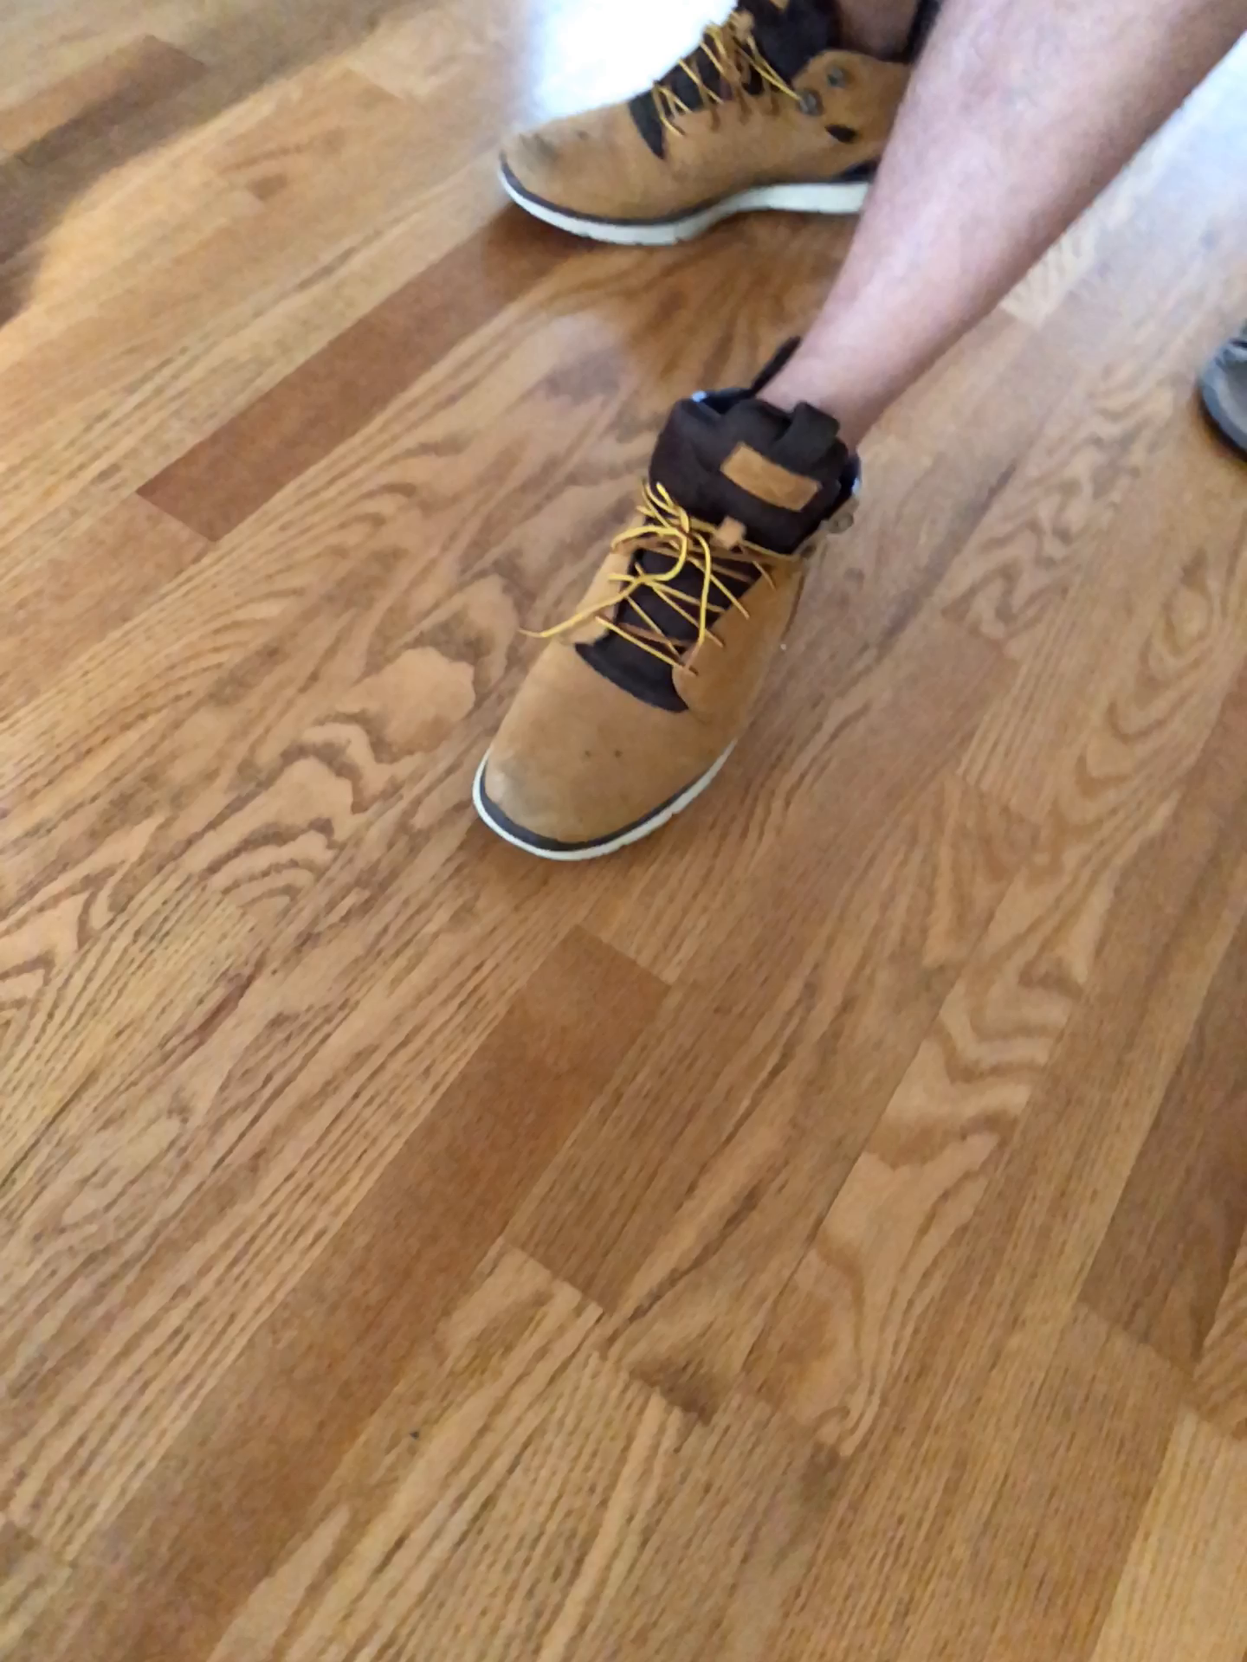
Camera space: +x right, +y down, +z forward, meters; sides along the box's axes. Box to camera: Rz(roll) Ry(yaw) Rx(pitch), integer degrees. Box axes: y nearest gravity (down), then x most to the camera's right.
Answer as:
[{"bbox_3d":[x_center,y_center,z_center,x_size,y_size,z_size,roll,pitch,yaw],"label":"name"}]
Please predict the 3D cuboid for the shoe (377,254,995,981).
[{"bbox_3d":[0.033,-0.109,0.646,0.130,0.139,0.311,32,58,7],"label":"shoe"}]

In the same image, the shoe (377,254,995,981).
[{"bbox_3d":[0.033,-0.109,0.646,0.130,0.139,0.311,32,58,7],"label":"shoe"}]

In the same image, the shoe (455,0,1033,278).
[{"bbox_3d":[0.073,-0.499,0.909,0.331,0.159,0.130,-18,65,-21],"label":"shoe"}]
